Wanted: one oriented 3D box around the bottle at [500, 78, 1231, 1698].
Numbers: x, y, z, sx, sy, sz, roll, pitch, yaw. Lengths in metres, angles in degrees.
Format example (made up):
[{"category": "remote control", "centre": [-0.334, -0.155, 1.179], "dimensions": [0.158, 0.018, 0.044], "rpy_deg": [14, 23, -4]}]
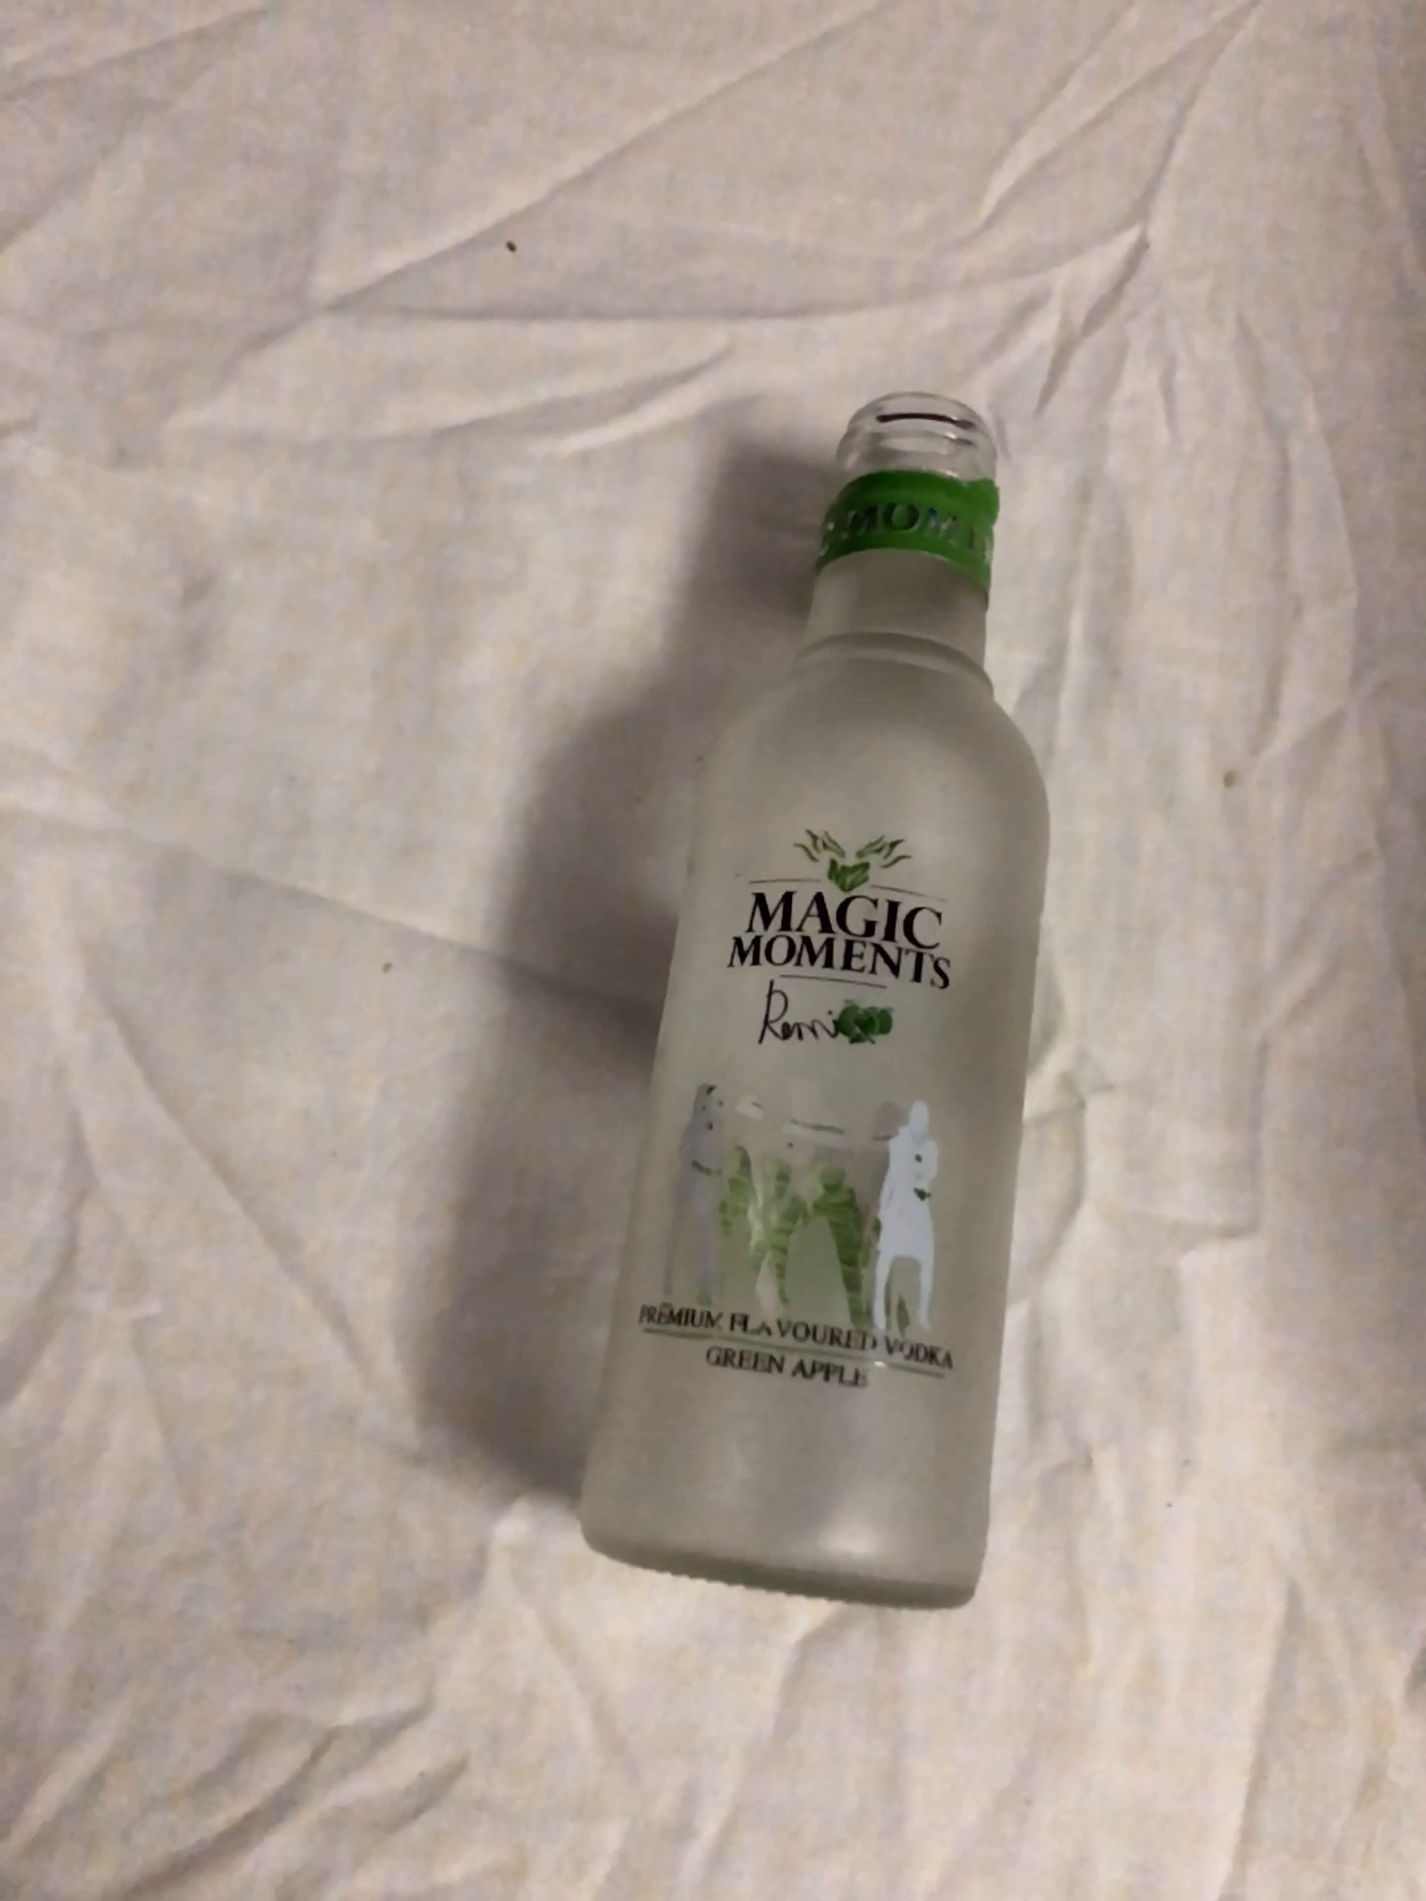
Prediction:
[{"category": "bottle", "centre": [0.020, -0.010, 0.207], "dimensions": [0.060, 0.060, 0.180], "rpy_deg": [9, 77, -1]}]
